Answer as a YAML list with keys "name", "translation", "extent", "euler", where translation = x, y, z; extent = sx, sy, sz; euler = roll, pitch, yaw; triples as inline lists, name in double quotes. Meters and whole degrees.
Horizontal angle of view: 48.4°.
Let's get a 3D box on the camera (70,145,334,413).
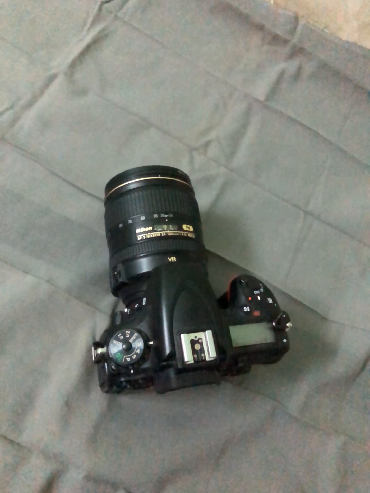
- name: "camera"
  translation: [-0.008, 0.029, 0.323]
  extent: [0.146, 0.135, 0.164]
  euler: [-4, 69, -18]
